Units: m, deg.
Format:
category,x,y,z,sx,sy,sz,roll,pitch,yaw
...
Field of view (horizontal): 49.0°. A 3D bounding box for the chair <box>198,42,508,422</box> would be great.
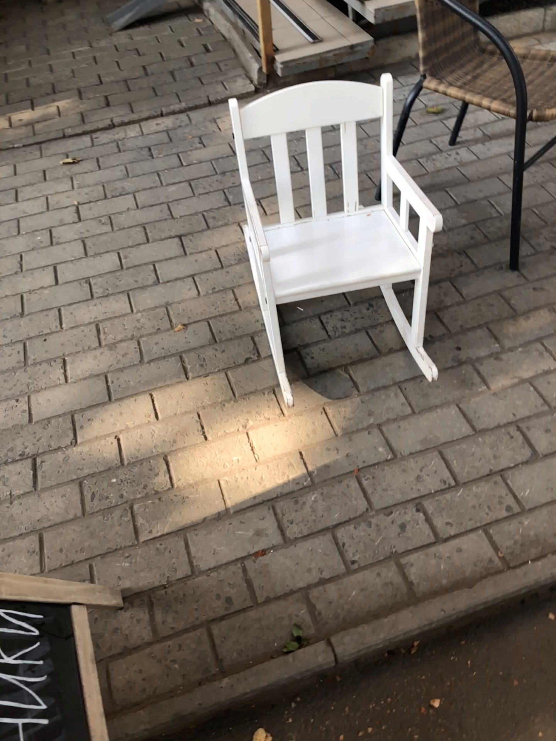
category,x,y,z,sx,sy,sz,roll,pitch,yaw
chair,0.113,-0.355,1.425,0.440,0.458,0.753,-12,48,-4
